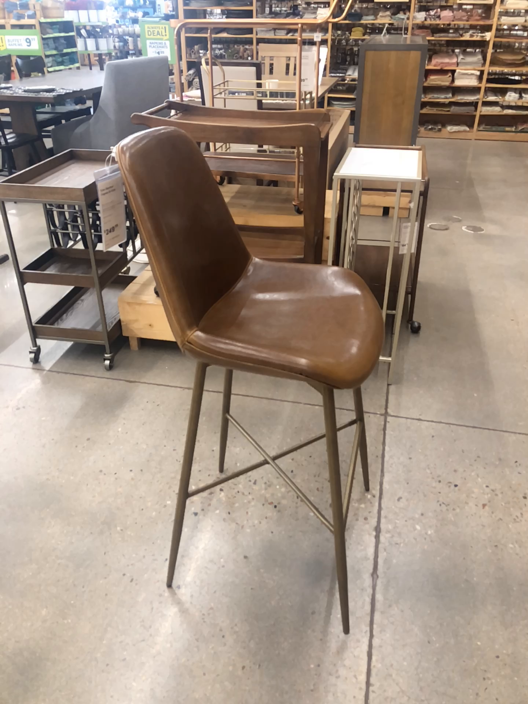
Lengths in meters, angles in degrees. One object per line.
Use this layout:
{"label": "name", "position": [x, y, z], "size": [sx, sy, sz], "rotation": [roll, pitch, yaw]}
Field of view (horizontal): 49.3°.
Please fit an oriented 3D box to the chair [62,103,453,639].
{"label": "chair", "position": [0.038, 0.024, 1.389], "size": [0.610, 1.055, 0.605], "rotation": [8, 32, 12]}
